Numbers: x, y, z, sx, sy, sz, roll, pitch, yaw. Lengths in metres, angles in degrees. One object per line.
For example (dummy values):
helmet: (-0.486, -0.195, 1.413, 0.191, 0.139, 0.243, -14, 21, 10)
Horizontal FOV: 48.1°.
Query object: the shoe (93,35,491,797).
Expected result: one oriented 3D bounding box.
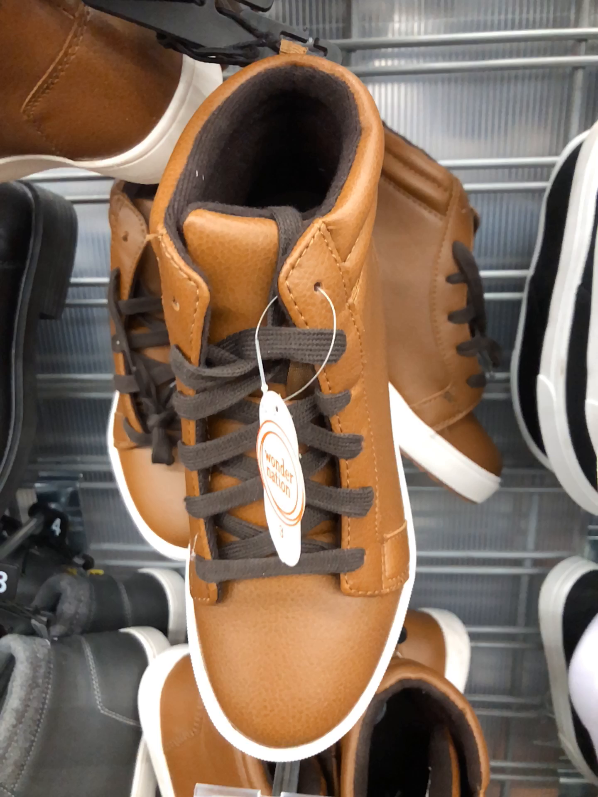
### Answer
shoe: (-0.002, 0.021, 0.228, 0.096, 0.227, 0.110, -2, -2, 1)
